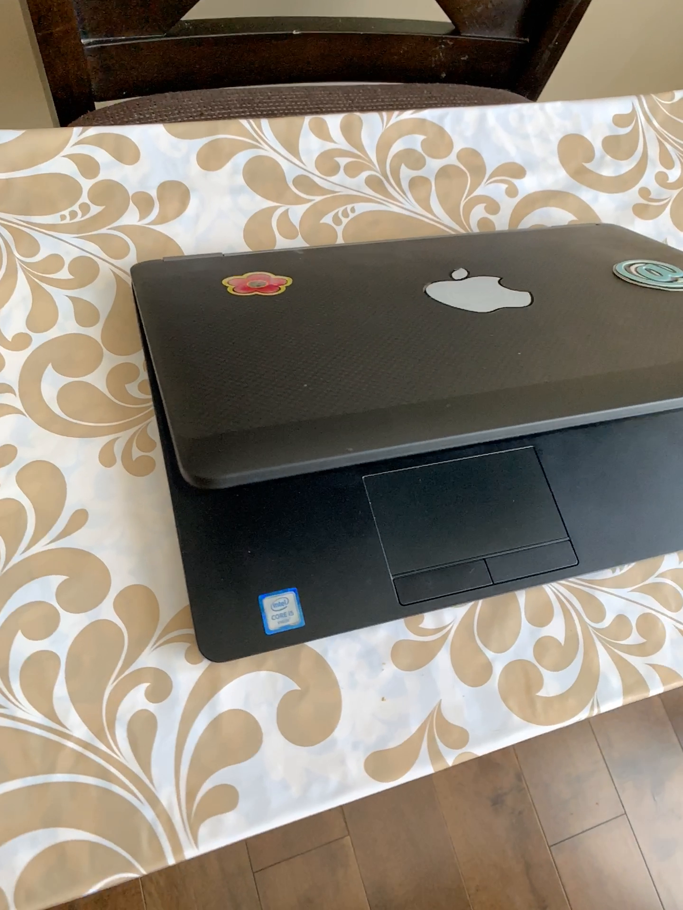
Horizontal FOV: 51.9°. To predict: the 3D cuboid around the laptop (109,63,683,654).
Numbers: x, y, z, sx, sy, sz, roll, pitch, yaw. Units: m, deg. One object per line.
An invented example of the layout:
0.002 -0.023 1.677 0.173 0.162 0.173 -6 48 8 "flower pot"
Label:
0.070 -0.052 0.321 0.300 0.127 0.199 -9 69 -17 "laptop"
